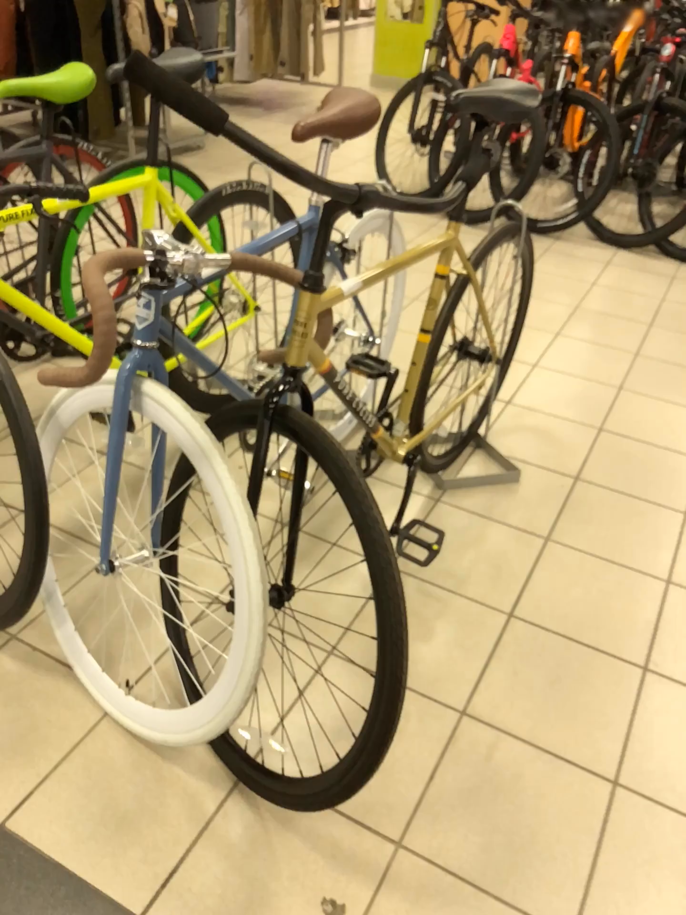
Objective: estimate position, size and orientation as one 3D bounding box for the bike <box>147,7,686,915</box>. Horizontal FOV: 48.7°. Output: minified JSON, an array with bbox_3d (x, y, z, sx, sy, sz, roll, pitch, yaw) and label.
[{"bbox_3d":[0.279,-0.106,1.554,0.672,1.091,1.471,12,40,14],"label":"bike"}]
